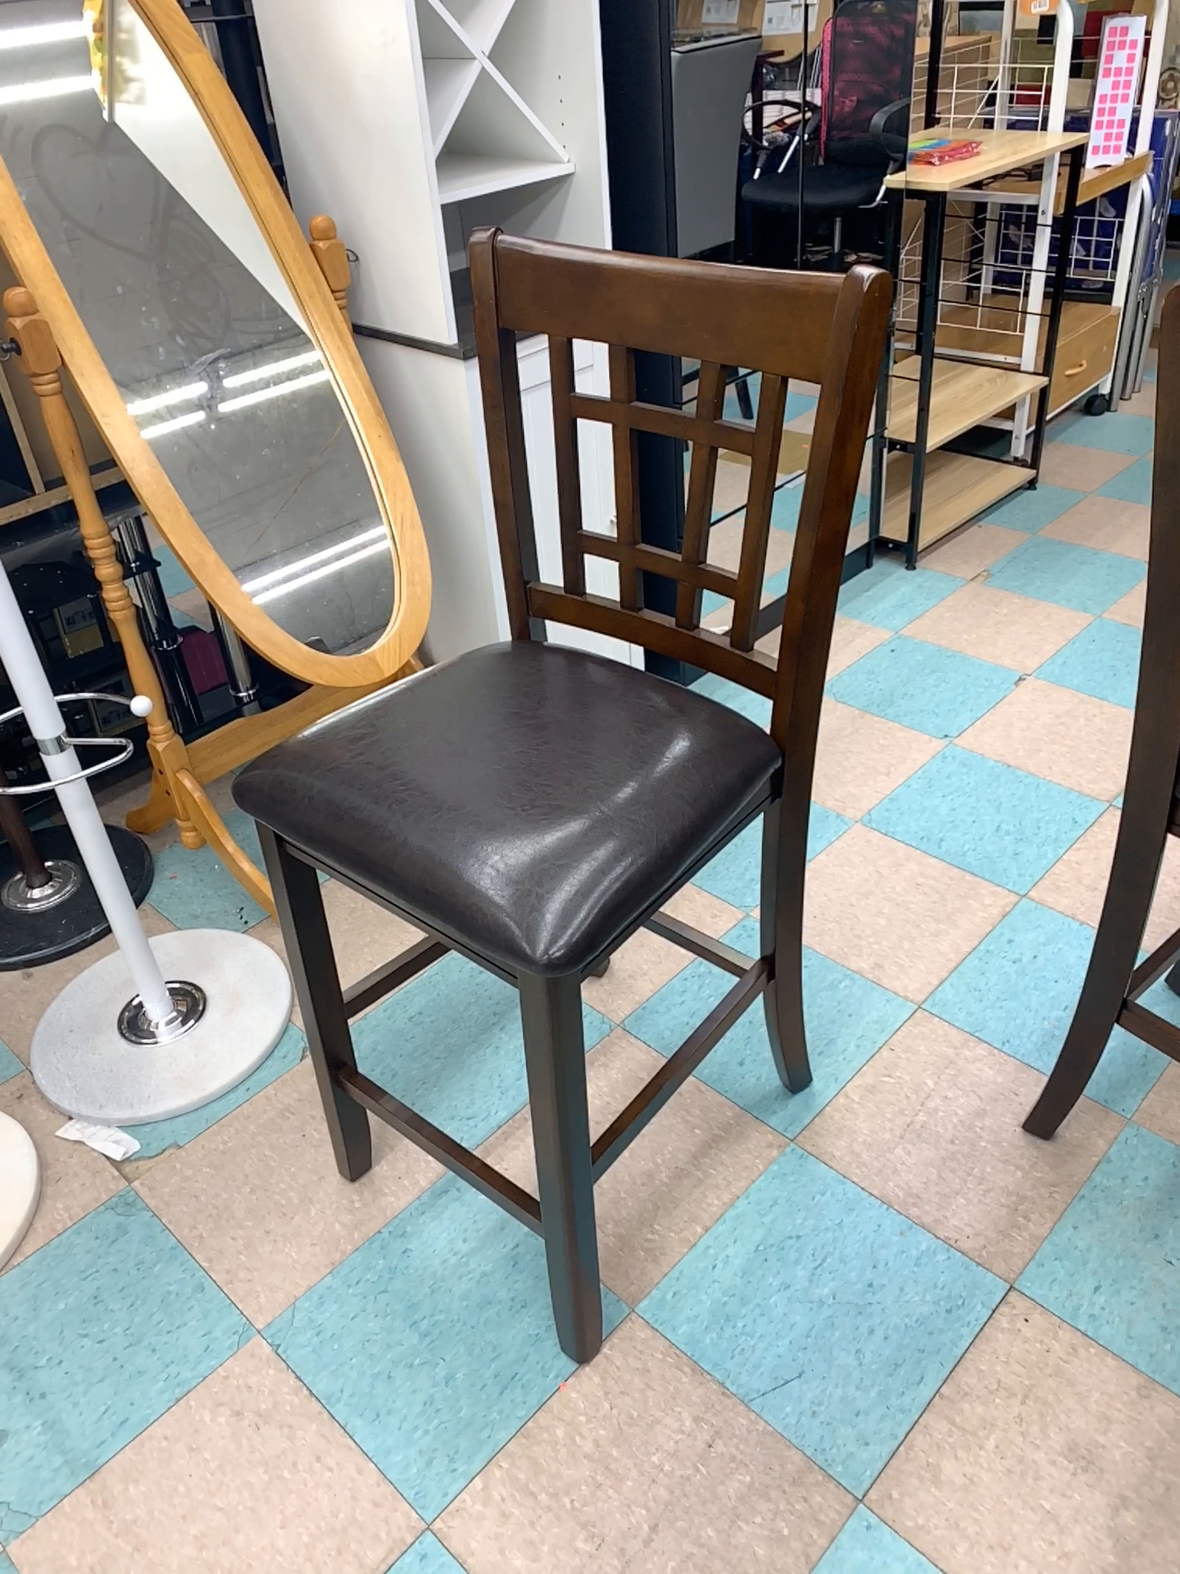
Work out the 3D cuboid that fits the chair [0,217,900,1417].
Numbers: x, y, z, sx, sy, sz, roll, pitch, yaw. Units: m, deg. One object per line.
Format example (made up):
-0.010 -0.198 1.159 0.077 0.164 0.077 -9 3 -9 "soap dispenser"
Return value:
-0.082 0.013 1.078 0.469 0.849 0.482 24 45 35 "chair"
